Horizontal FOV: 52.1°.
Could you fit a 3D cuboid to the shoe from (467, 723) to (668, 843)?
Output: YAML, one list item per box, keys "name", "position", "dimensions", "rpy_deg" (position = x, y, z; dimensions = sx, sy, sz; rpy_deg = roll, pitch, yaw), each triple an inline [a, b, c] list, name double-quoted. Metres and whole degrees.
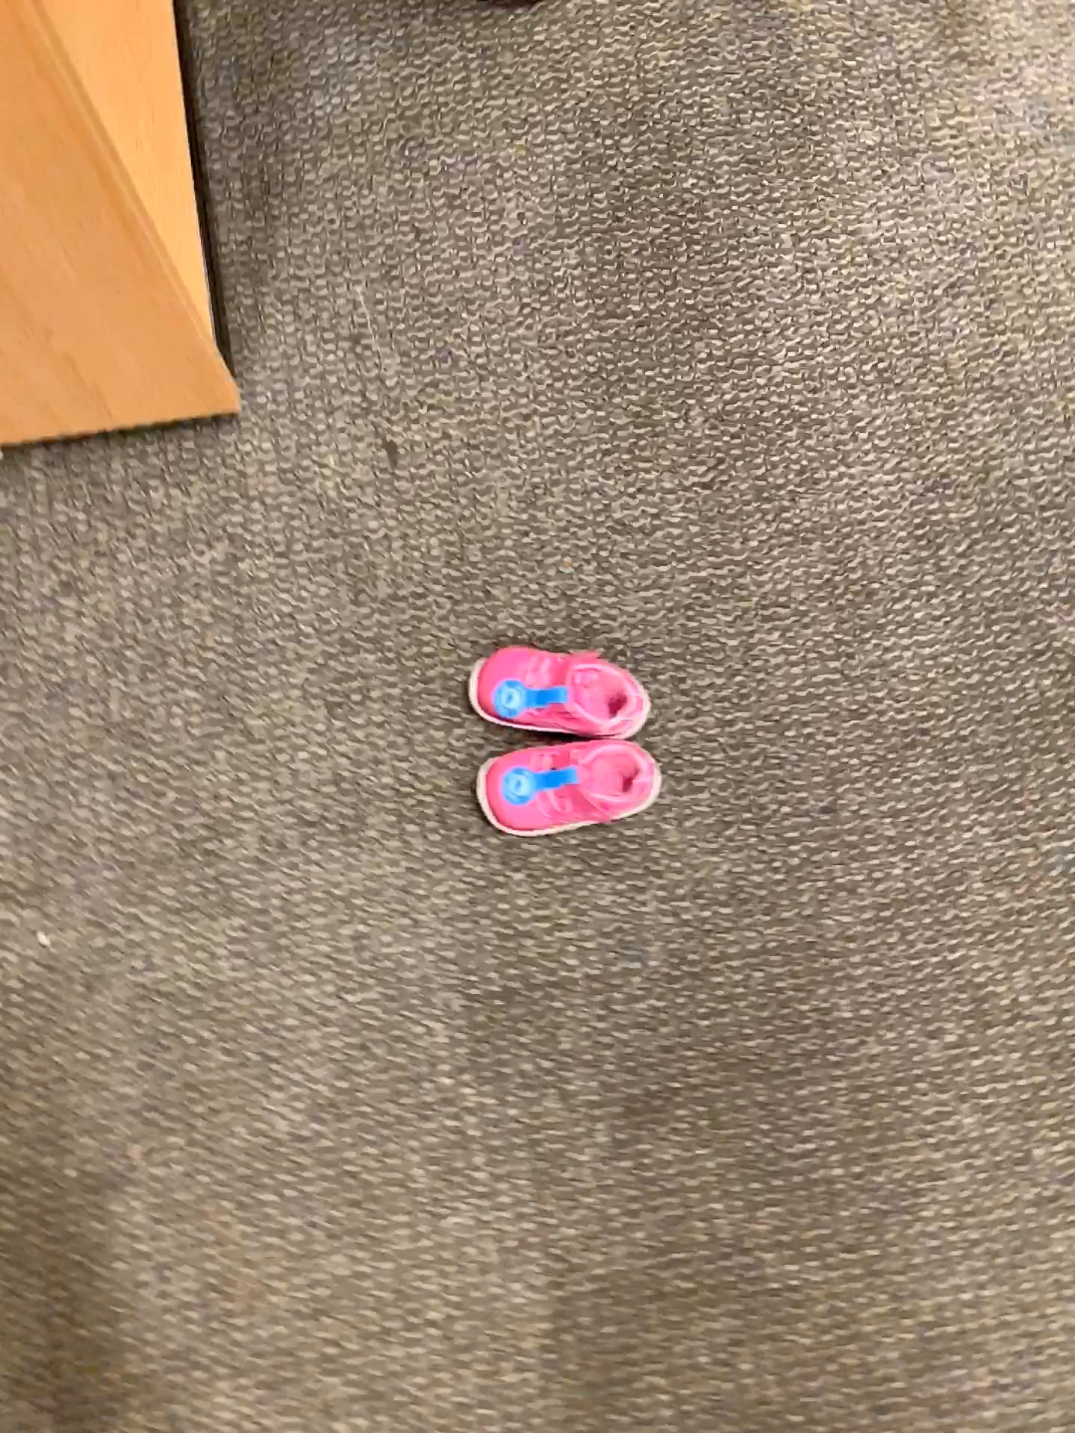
- name: "shoe"
  position: [0.021, 0.050, 0.828]
  dimensions: [0.140, 0.040, 0.070]
  rpy_deg: [-7, 80, -3]

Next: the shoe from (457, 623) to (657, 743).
- name: "shoe"
  position: [0.014, -0.024, 0.821]
  dimensions: [0.140, 0.040, 0.070]
  rpy_deg: [5, 80, -1]
